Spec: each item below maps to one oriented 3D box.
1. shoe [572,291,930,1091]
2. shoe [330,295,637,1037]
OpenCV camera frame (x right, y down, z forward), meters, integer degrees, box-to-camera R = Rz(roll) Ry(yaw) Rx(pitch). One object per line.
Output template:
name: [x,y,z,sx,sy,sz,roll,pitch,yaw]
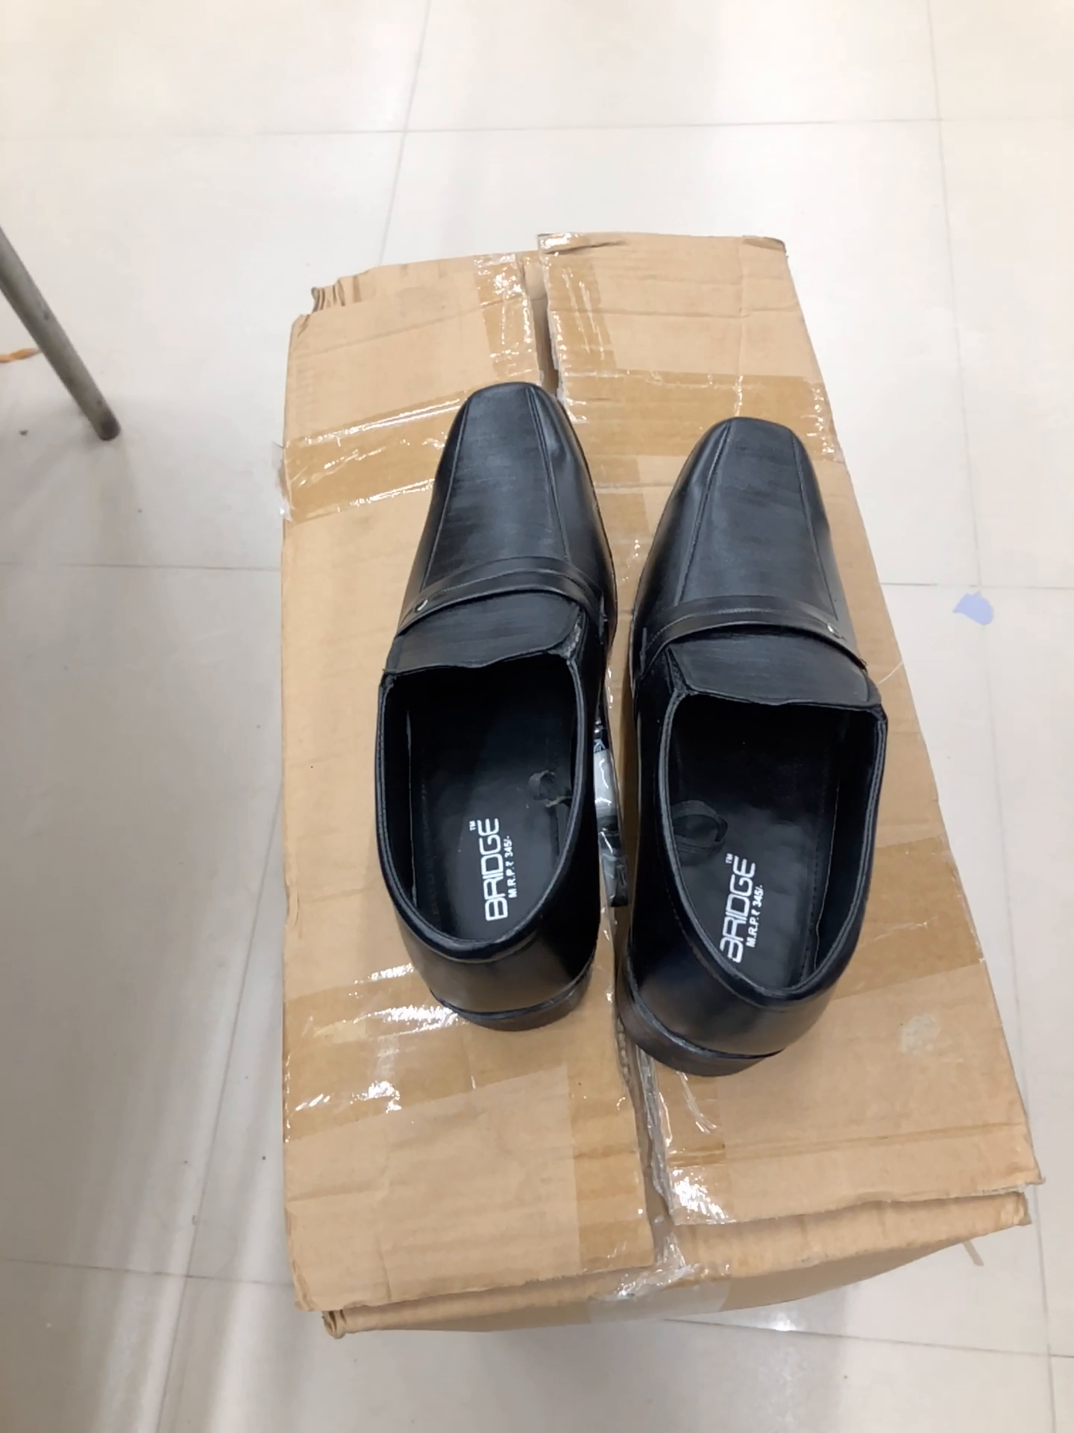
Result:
shoe: [0.083,-0.012,0.511,0.100,0.129,0.311,7,65,-5]
shoe: [-0.016,-0.022,0.516,0.100,0.130,0.291,-3,64,5]
